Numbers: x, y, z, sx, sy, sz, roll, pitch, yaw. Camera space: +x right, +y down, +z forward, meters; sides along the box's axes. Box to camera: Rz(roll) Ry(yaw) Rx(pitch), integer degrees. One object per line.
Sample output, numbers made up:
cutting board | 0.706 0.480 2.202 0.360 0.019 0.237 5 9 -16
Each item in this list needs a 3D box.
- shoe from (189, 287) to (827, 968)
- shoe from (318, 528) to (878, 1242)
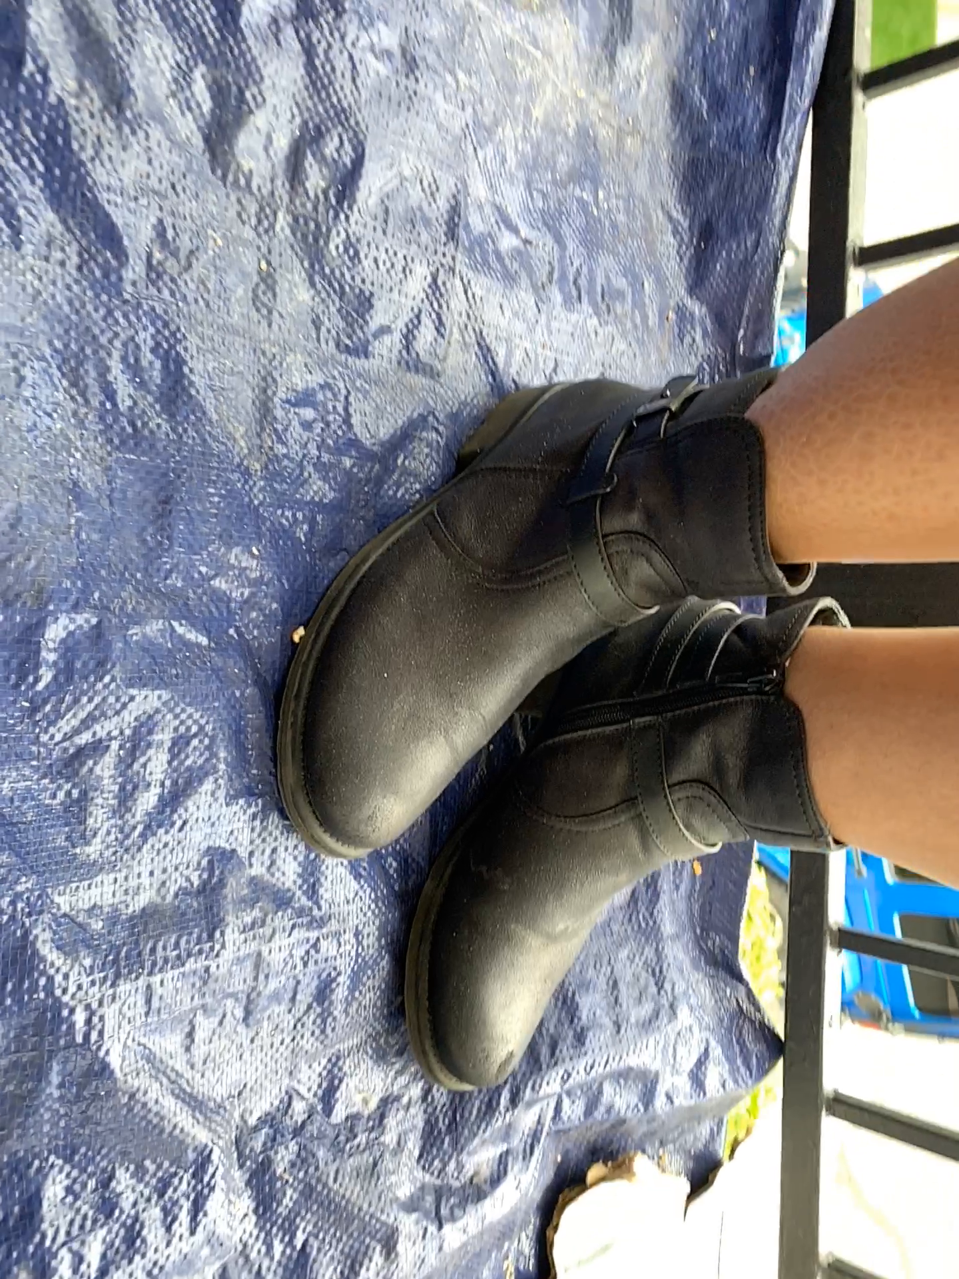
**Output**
shoe | 0.029 -0.021 0.432 0.280 0.129 0.101 -55 127 -30
shoe | 0.071 0.088 0.449 0.111 0.109 0.280 54 56 -33
